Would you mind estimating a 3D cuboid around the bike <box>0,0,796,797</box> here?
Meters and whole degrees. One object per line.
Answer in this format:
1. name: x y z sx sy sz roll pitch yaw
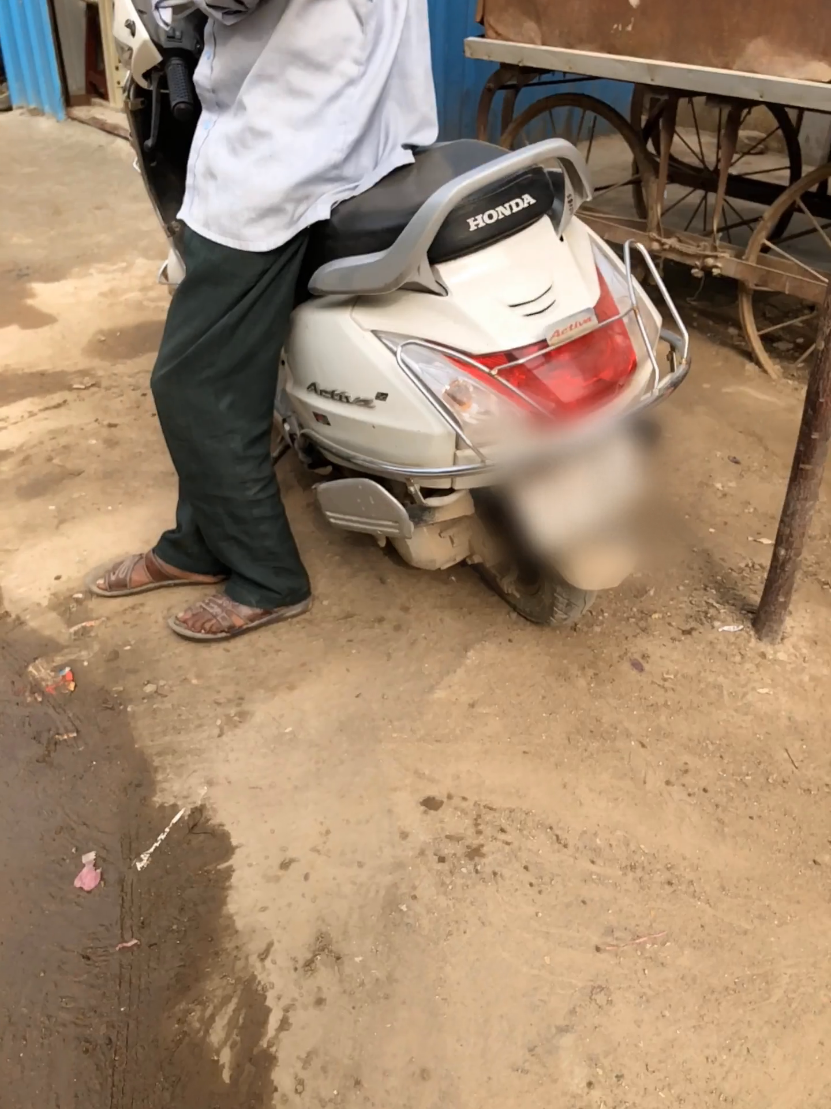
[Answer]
1. bike: -0.306 -0.551 1.736 0.658 1.112 1.579 -19 38 -28
